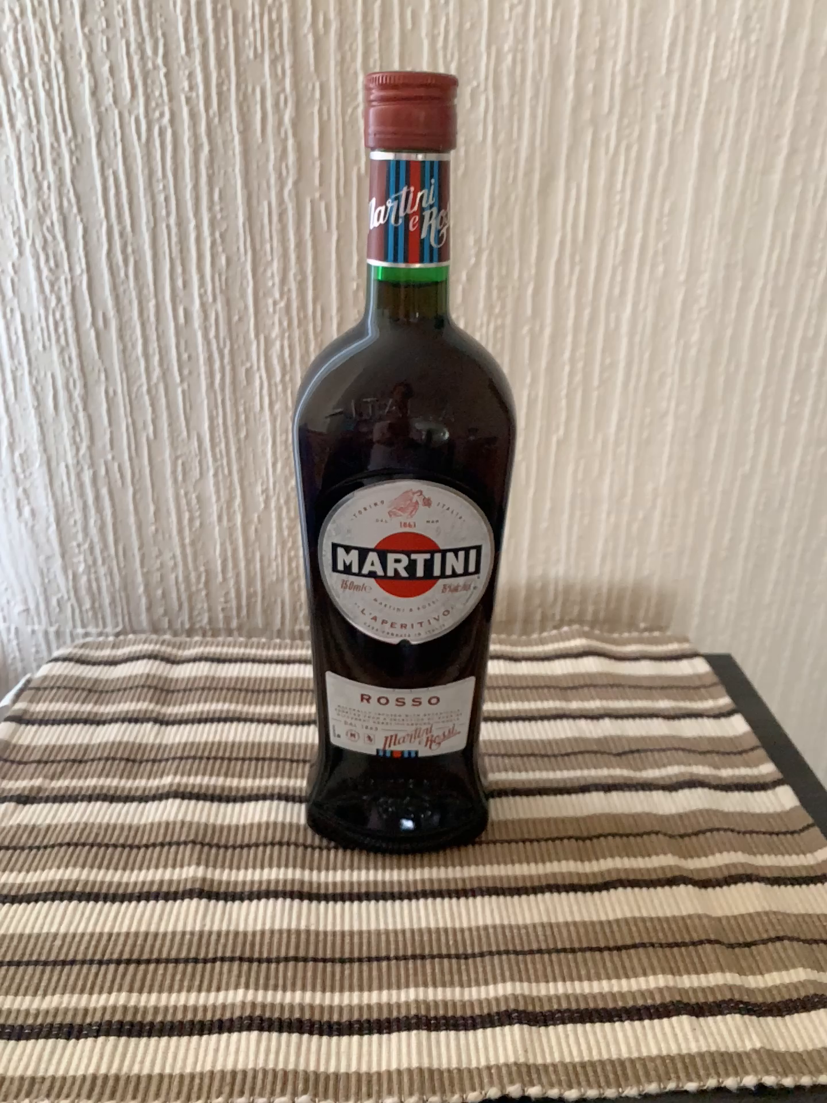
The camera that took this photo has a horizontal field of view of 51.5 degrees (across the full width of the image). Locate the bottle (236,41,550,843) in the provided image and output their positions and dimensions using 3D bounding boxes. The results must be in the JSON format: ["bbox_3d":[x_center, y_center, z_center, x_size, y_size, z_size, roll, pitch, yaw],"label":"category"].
[{"bbox_3d":[-0.010,-0.023,0.335,0.090,0.297,0.061,1,25,-1],"label":"bottle"}]
